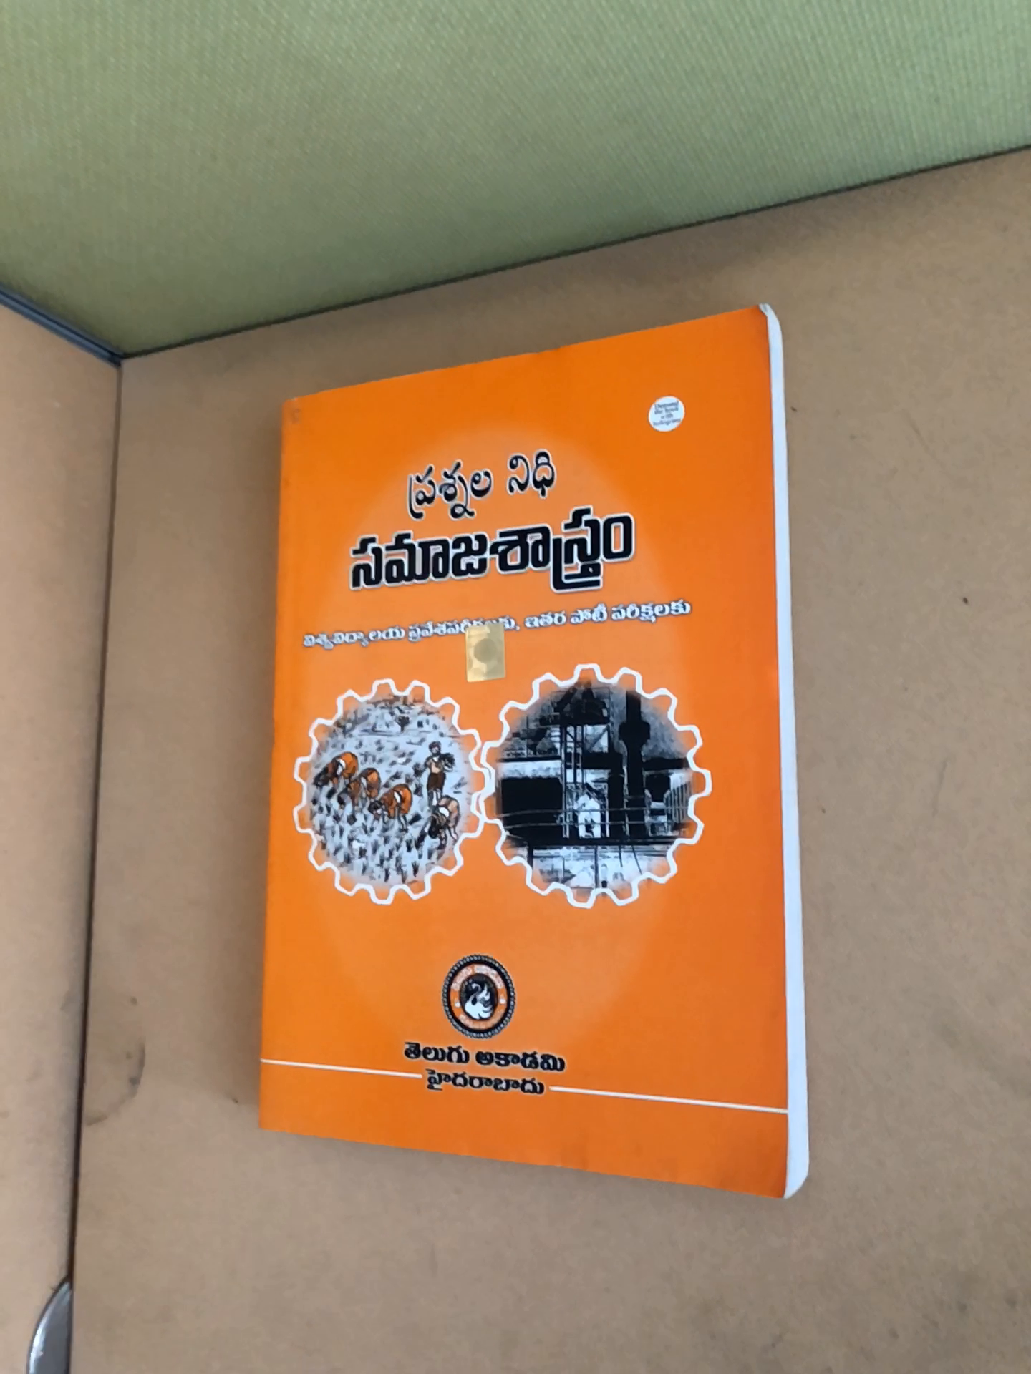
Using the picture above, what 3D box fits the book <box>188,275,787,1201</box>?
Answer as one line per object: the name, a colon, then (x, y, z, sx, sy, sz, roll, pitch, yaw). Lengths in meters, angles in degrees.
book: (-0.014, 0.016, 0.422, 0.210, 0.050, 0.290, -4, 80, 25)
